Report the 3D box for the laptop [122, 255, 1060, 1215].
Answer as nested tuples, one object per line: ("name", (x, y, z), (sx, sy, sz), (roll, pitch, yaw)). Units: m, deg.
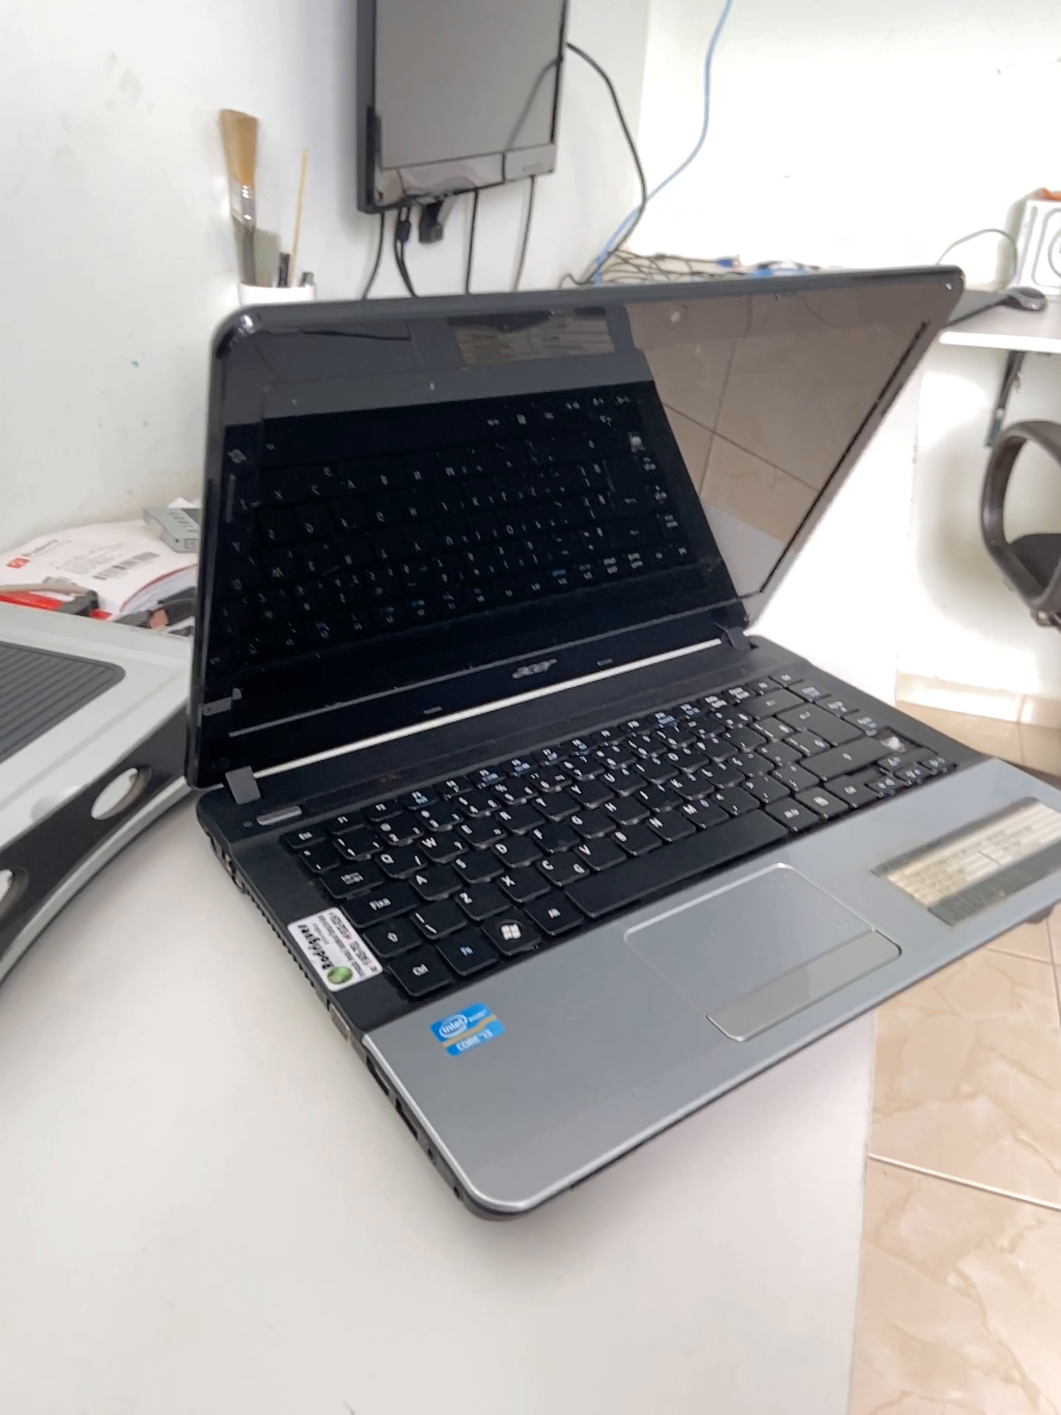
("laptop", (0.060, -0.042, 0.418), (0.327, 0.211, 0.239), (-16, 34, -31))
